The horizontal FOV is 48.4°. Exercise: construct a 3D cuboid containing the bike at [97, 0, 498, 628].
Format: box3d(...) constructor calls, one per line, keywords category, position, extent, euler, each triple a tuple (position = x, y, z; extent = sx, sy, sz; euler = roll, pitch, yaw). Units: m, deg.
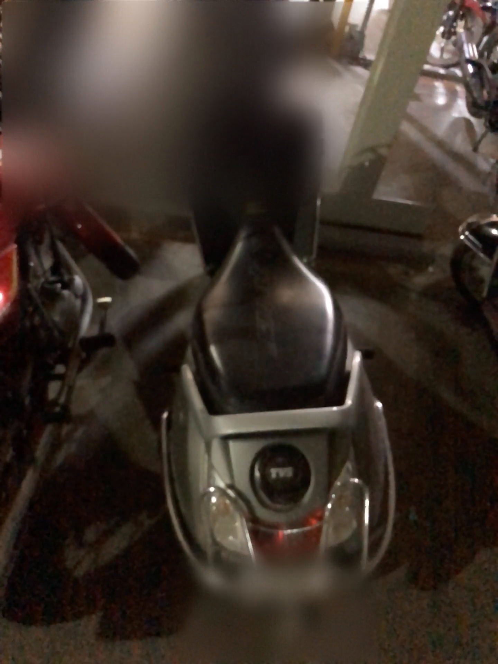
box3d(category="bike", position=(-0.012, -0.098, 1.558), extent=(0.602, 1.095, 1.387), euler=(4, 46, -10))
